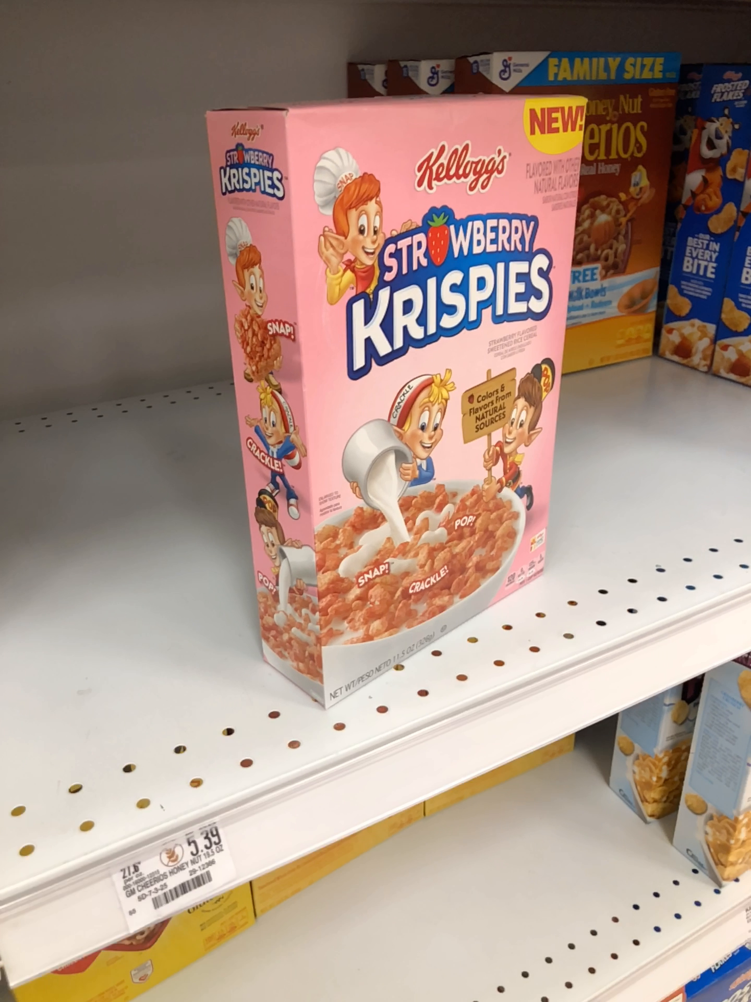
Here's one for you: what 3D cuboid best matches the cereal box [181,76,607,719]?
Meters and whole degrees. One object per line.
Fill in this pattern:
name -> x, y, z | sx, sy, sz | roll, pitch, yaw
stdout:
cereal box -> 0.019, -0.060, 0.443 | 0.200, 0.289, 0.070 | -25, 37, -37
